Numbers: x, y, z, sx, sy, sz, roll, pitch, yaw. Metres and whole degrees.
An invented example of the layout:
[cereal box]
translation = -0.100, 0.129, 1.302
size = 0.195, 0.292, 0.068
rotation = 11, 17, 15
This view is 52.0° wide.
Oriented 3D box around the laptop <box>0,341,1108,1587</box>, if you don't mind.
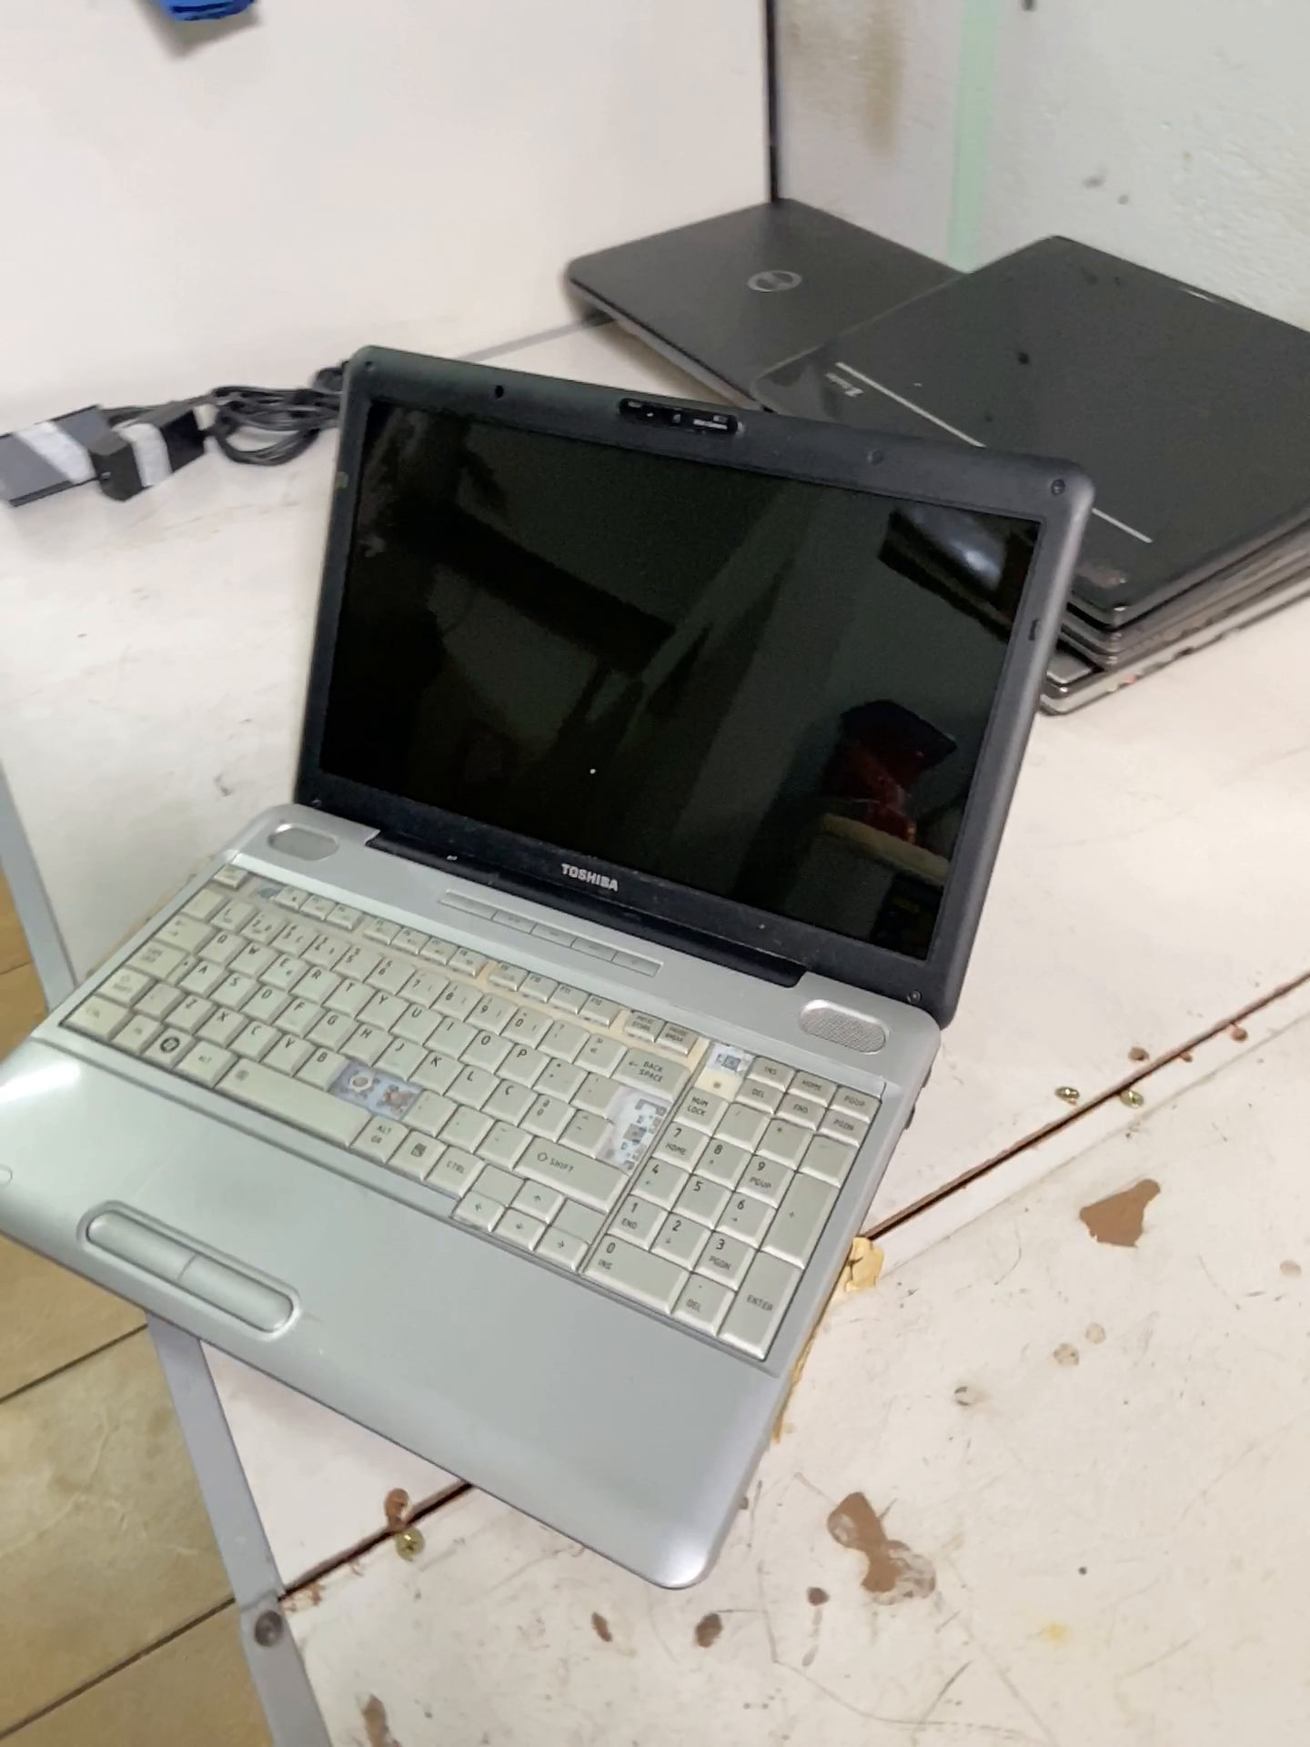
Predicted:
[laptop]
translation = -0.069, -0.022, 0.551
size = 0.371, 0.190, 0.400
rotation = 17, 49, 23
